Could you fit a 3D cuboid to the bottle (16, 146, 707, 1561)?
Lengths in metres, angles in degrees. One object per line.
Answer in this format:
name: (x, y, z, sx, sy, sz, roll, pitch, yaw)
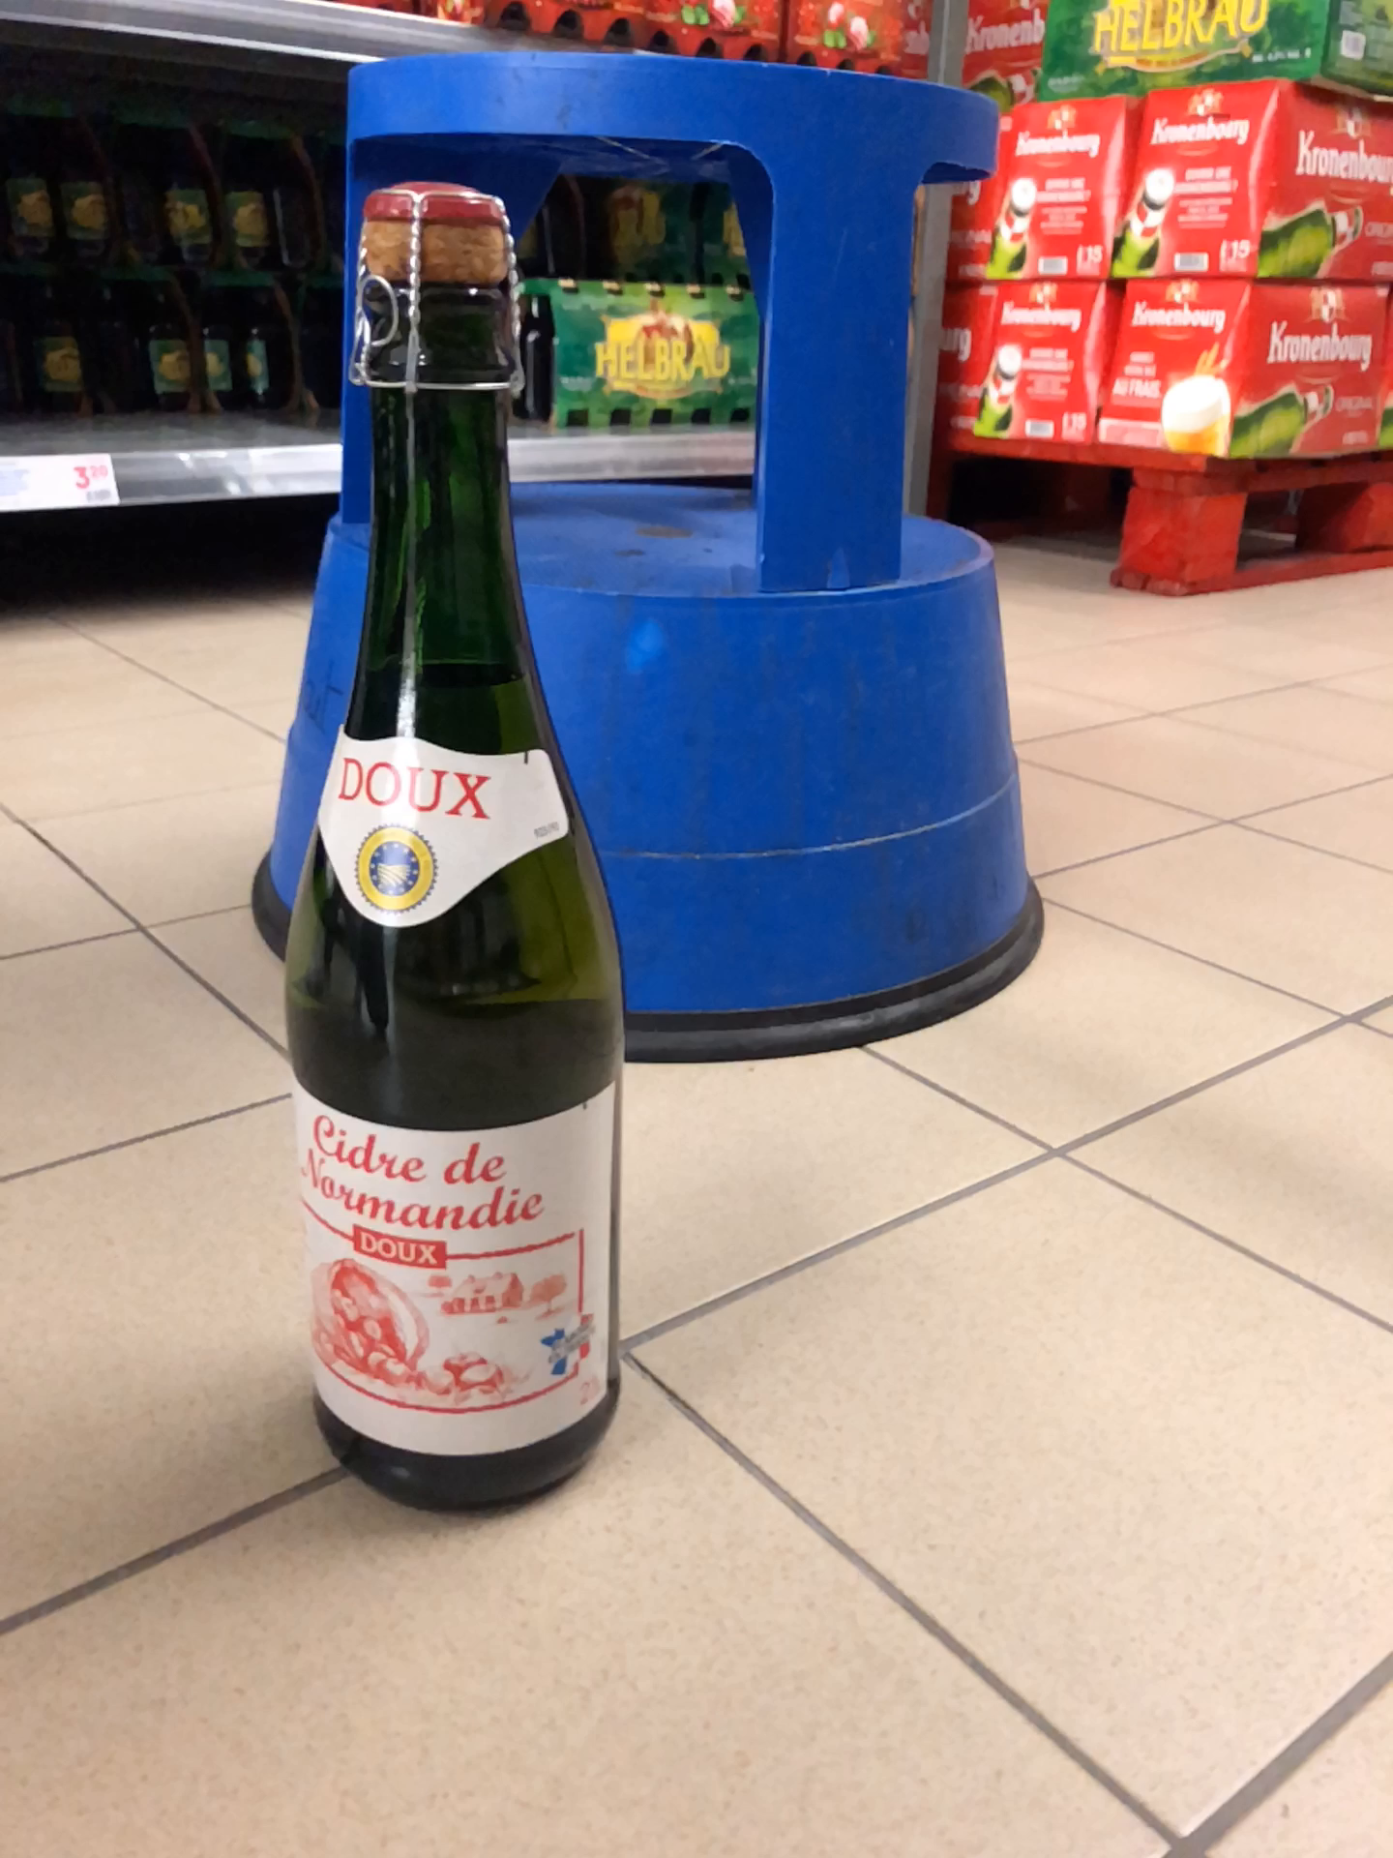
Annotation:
bottle: (-0.066, -0.015, 0.356, 0.100, 0.289, 0.091, 11, 23, 23)
